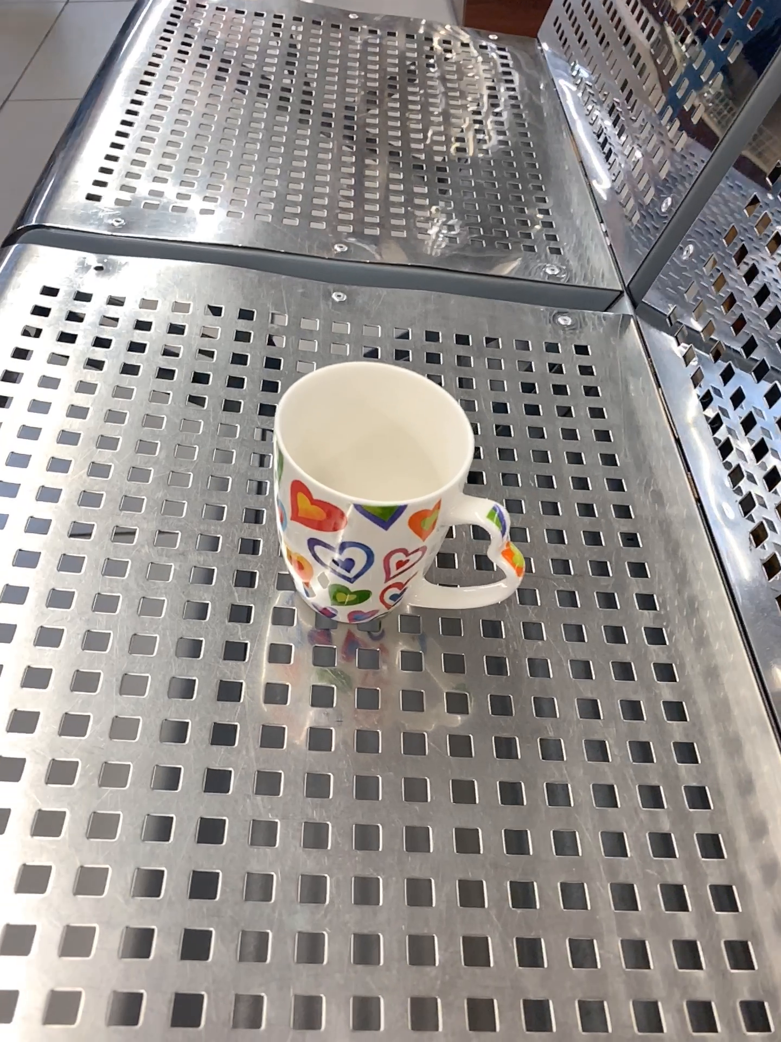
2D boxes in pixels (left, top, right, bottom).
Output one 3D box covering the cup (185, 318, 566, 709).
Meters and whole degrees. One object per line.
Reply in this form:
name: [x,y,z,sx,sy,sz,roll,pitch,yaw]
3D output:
cup: [-0.010,-0.002,0.330,0.120,0.100,0.070,27,53,13]
